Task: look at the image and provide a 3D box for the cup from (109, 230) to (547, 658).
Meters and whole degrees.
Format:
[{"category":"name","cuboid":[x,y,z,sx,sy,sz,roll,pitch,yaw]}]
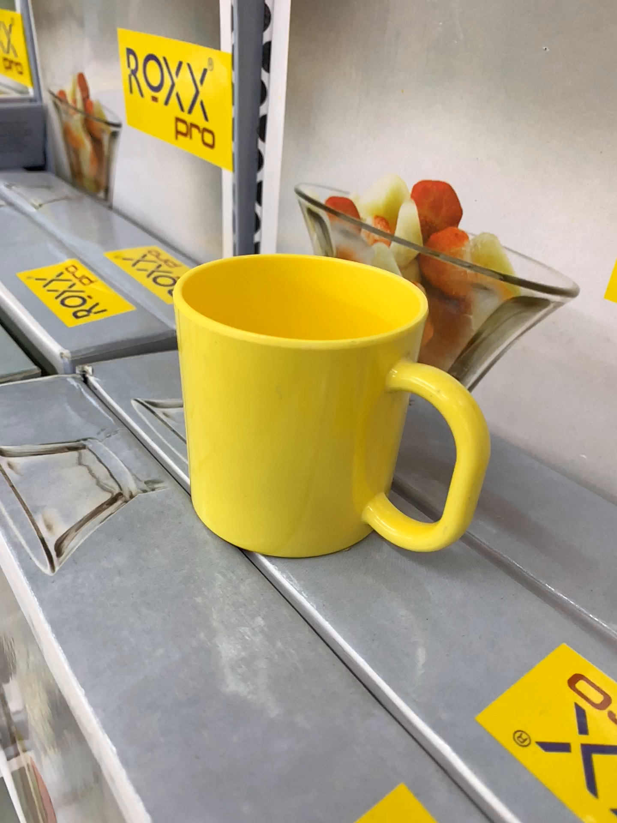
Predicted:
[{"category":"cup","cuboid":[0.000,-0.002,0.190,0.072,0.069,0.096,-21,40,-36]}]
